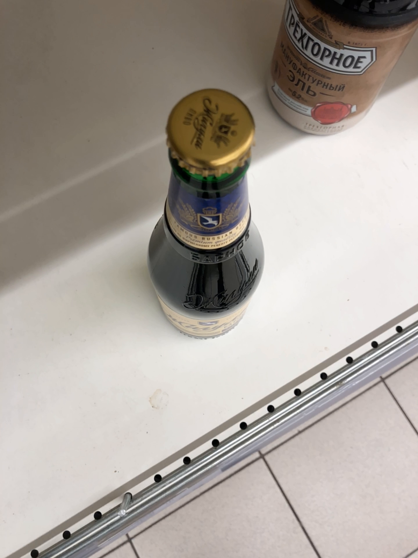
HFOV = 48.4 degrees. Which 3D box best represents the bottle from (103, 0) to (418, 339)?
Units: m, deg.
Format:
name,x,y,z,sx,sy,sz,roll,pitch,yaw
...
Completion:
name,x,y,z,sx,sy,sz,roll,pitch,yaw
bottle,0.012,-0.025,0.263,0.090,0.250,0.080,-5,76,-2
